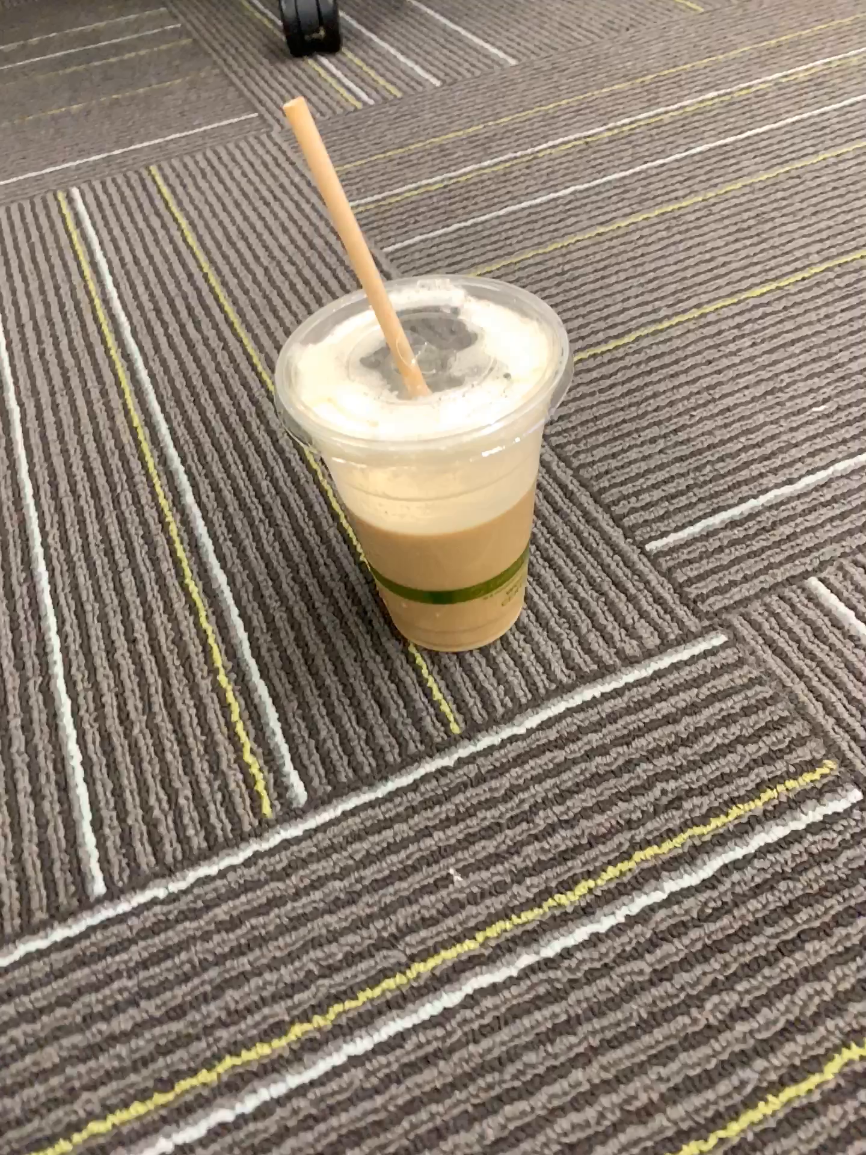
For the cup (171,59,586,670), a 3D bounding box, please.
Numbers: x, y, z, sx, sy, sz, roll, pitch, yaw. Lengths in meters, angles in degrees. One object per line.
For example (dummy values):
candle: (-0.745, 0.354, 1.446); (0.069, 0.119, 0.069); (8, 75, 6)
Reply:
cup: (0.000, -0.059, 0.306); (0.100, 0.179, 0.090); (-1, 47, 8)
